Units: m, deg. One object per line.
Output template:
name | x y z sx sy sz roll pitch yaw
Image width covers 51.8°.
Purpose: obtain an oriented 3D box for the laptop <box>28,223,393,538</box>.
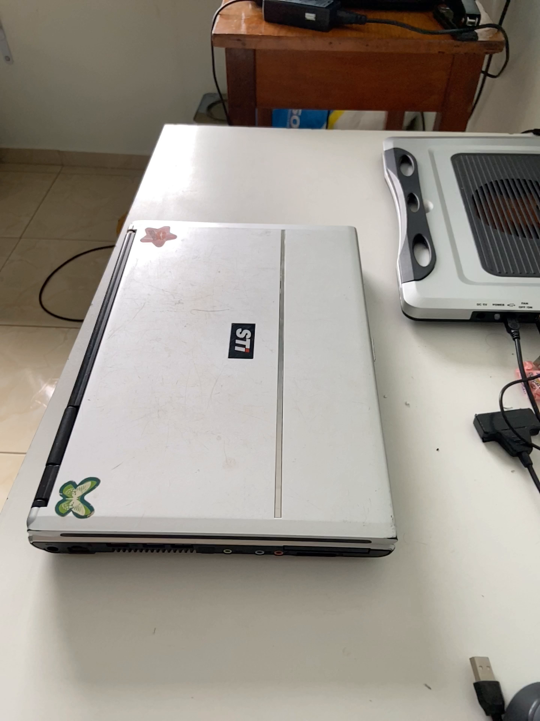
laptop | -0.031 -0.015 0.472 0.234 0.004 0.340 2 48 1
